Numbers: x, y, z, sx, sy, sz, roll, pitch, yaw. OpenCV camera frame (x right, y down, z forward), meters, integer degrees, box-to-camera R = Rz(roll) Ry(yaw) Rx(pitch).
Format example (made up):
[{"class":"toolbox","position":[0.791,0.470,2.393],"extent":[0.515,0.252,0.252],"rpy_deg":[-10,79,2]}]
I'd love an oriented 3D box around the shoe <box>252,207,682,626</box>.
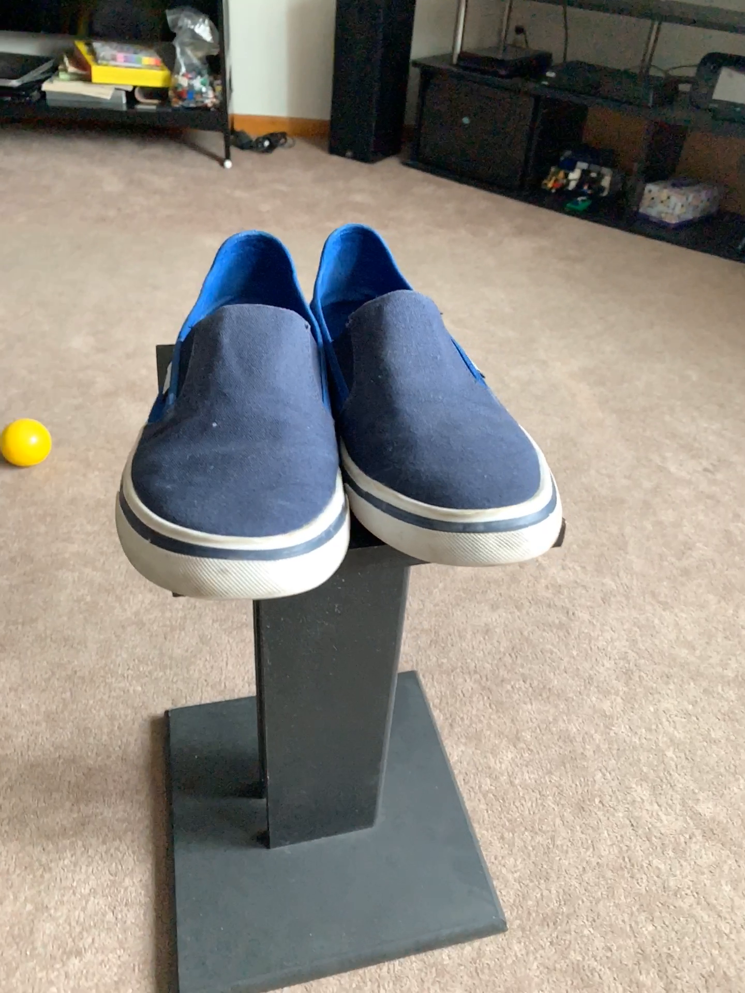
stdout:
[{"class":"shoe","position":[0.021,-0.074,0.433],"extent":[0.120,0.079,0.302],"rpy_deg":[-8,39,-17]}]

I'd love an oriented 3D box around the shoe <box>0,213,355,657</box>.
[{"class":"shoe","position":[-0.075,-0.059,0.407],"extent":[0.120,0.079,0.303],"rpy_deg":[2,37,-5]}]
